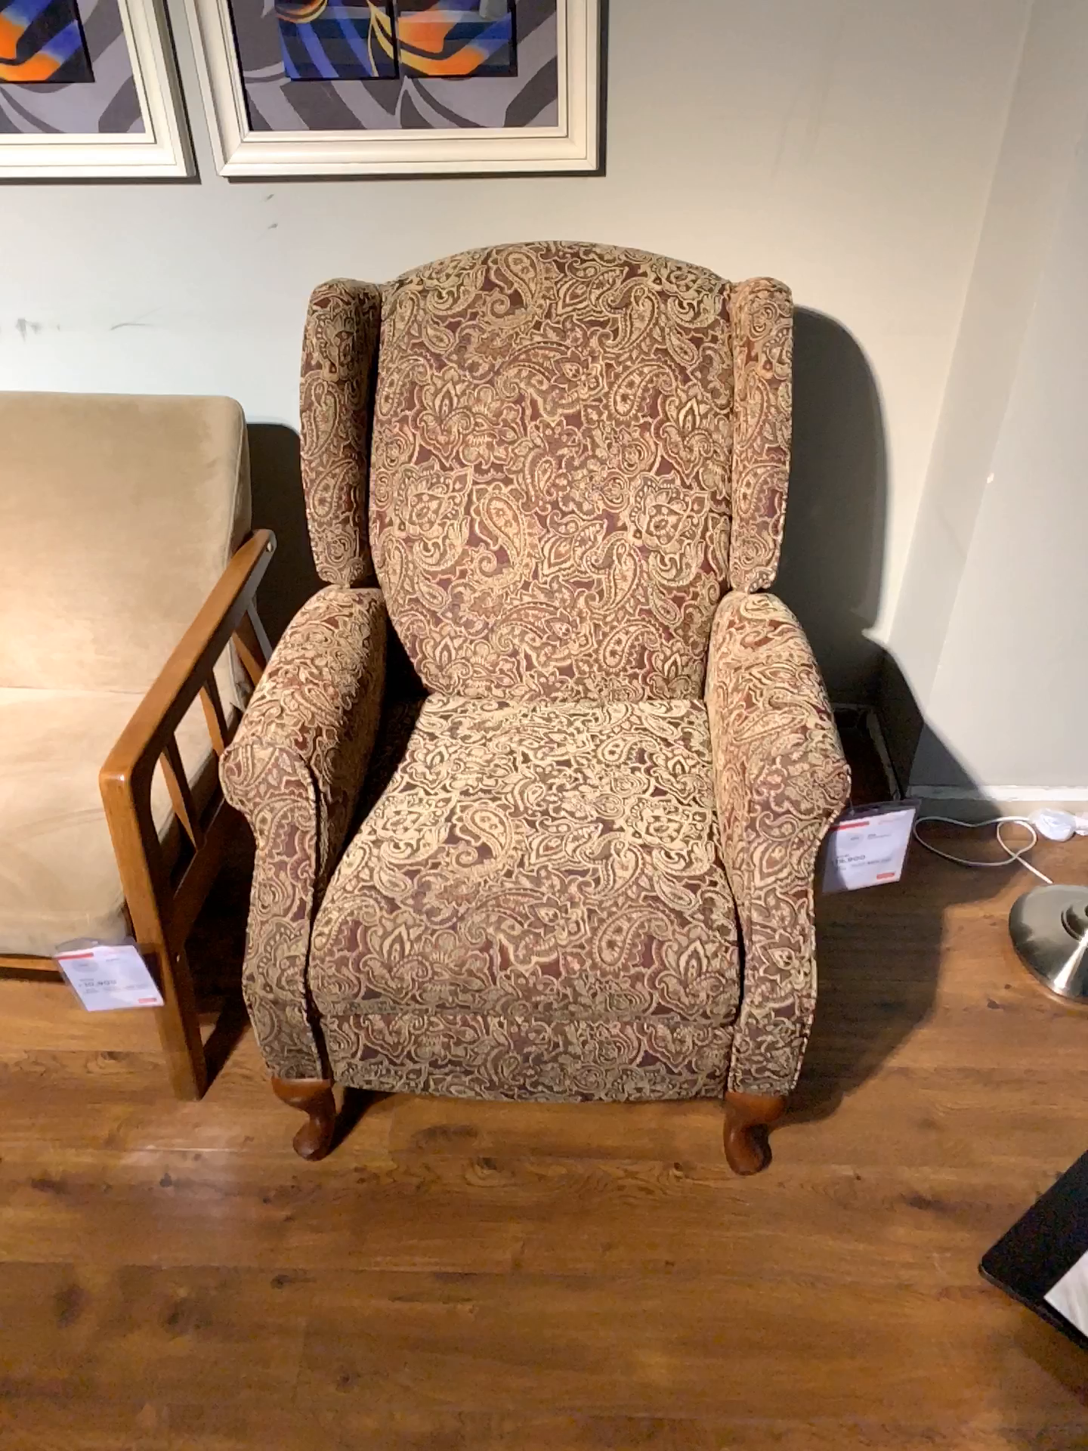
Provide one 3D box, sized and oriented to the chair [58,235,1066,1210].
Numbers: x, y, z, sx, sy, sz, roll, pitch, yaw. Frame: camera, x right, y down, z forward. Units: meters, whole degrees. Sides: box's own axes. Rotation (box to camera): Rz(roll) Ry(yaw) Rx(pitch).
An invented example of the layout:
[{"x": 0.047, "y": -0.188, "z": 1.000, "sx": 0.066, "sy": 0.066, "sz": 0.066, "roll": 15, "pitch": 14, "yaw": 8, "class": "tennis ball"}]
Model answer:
[{"x": 0.029, "y": -0.012, "z": 1.417, "sx": 0.750, "sy": 0.956, "sz": 0.763, "roll": 2, "pitch": 39, "yaw": 3, "class": "chair"}]
